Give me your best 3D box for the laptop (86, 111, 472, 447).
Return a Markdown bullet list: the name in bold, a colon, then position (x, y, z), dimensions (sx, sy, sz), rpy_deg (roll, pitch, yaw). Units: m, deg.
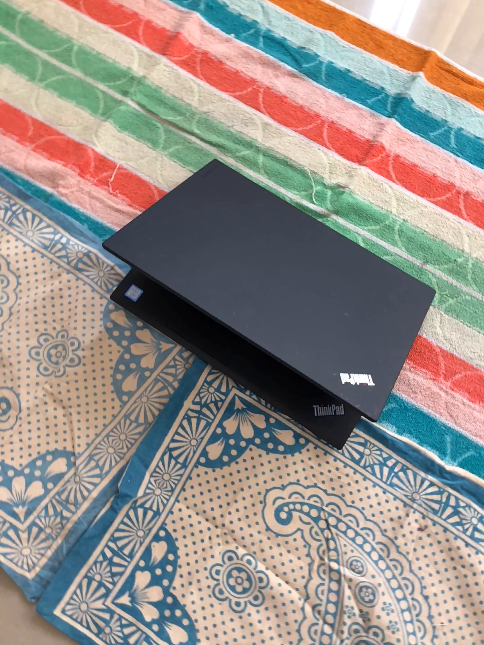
- **laptop**: position (0.046, -0.049, 0.645), dimensions (0.345, 0.122, 0.243), rpy_deg (33, 76, 6)
